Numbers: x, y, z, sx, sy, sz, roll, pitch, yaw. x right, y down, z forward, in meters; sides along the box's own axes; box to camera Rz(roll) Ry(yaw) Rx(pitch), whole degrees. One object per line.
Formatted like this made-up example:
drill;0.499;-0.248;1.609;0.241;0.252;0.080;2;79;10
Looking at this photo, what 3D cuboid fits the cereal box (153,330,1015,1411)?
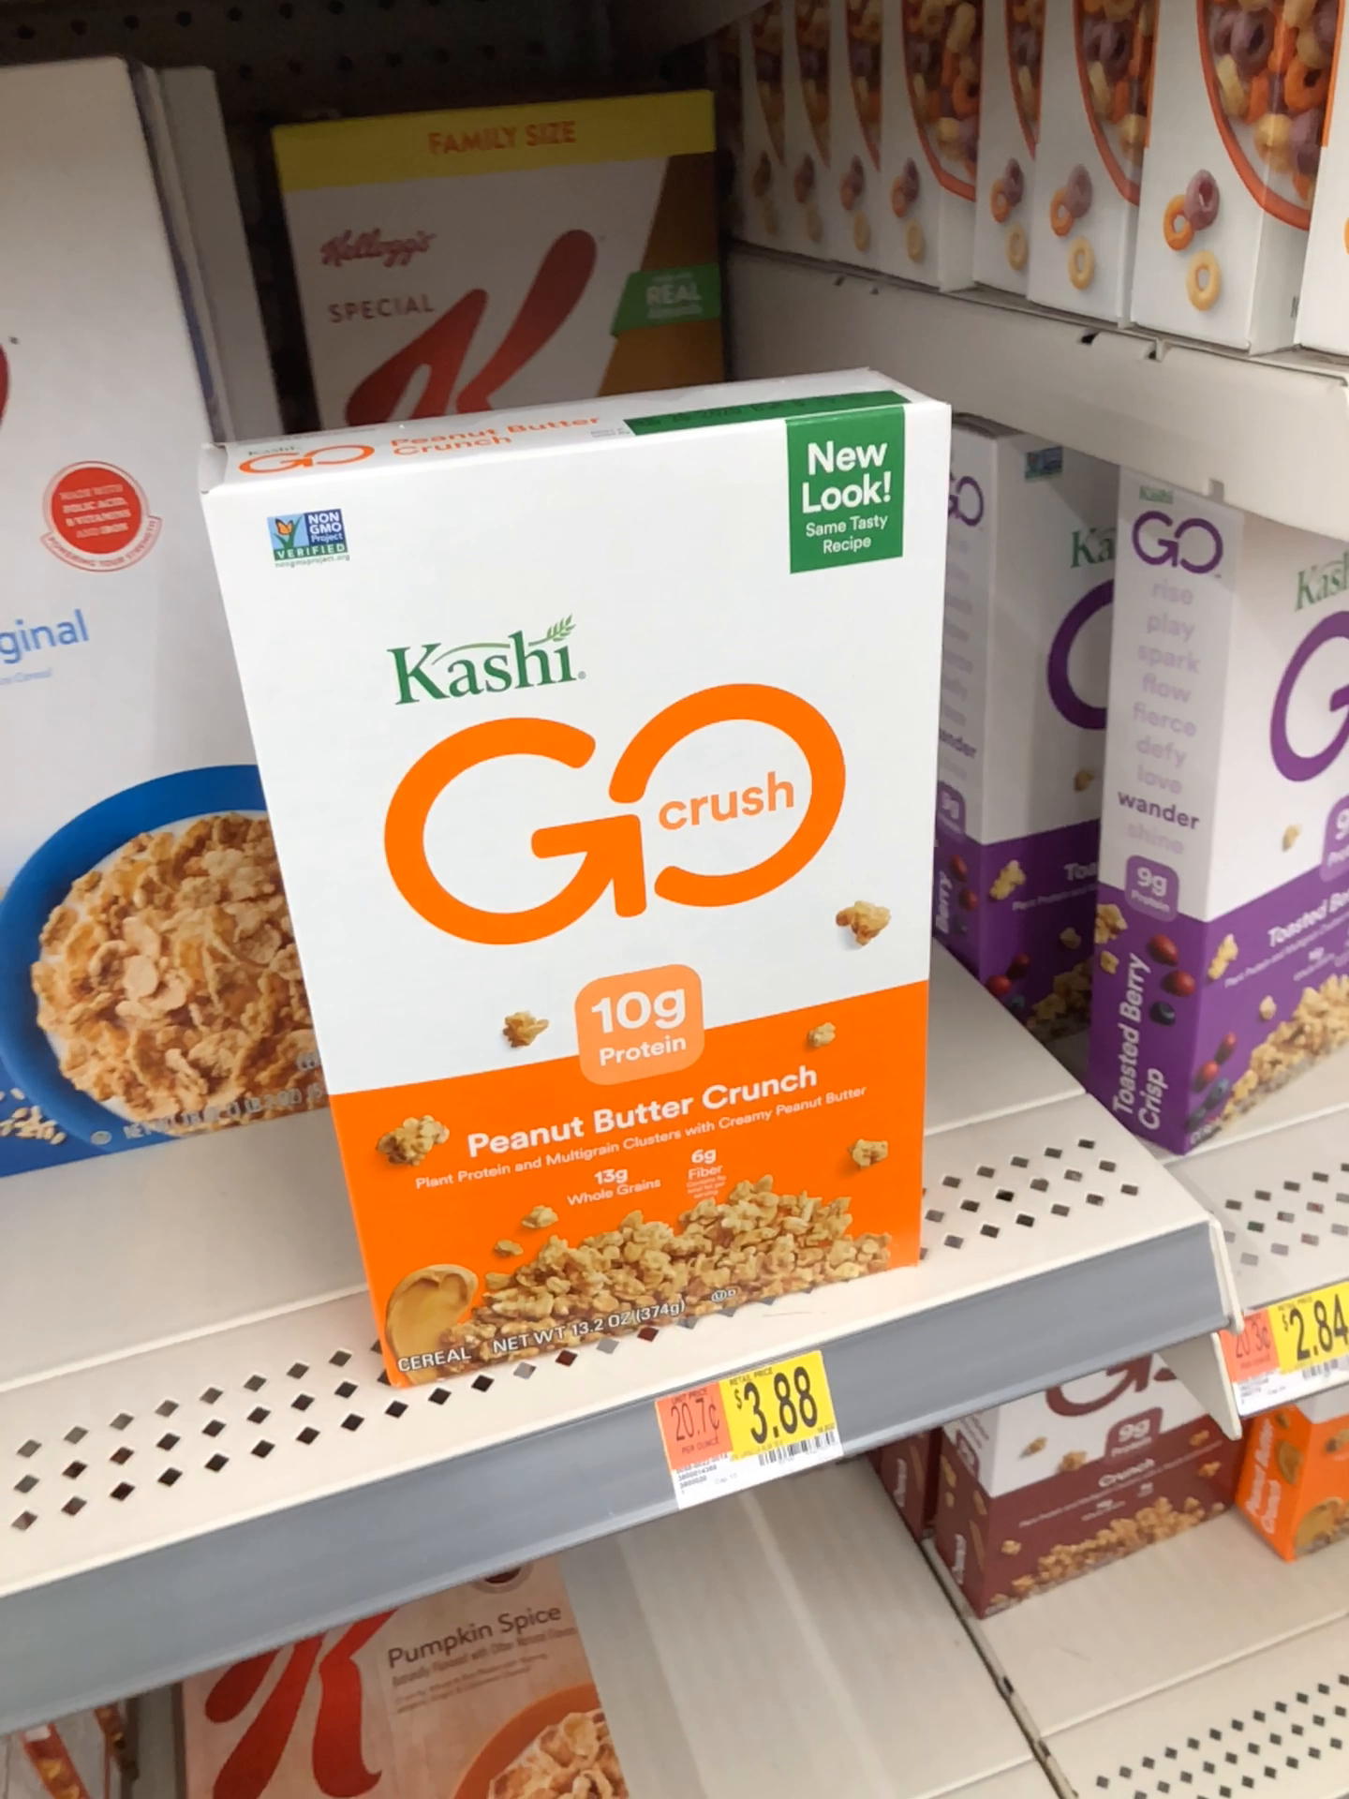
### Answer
cereal box;-0.011;0.003;0.374;0.170;0.249;0.050;-11;32;-11
